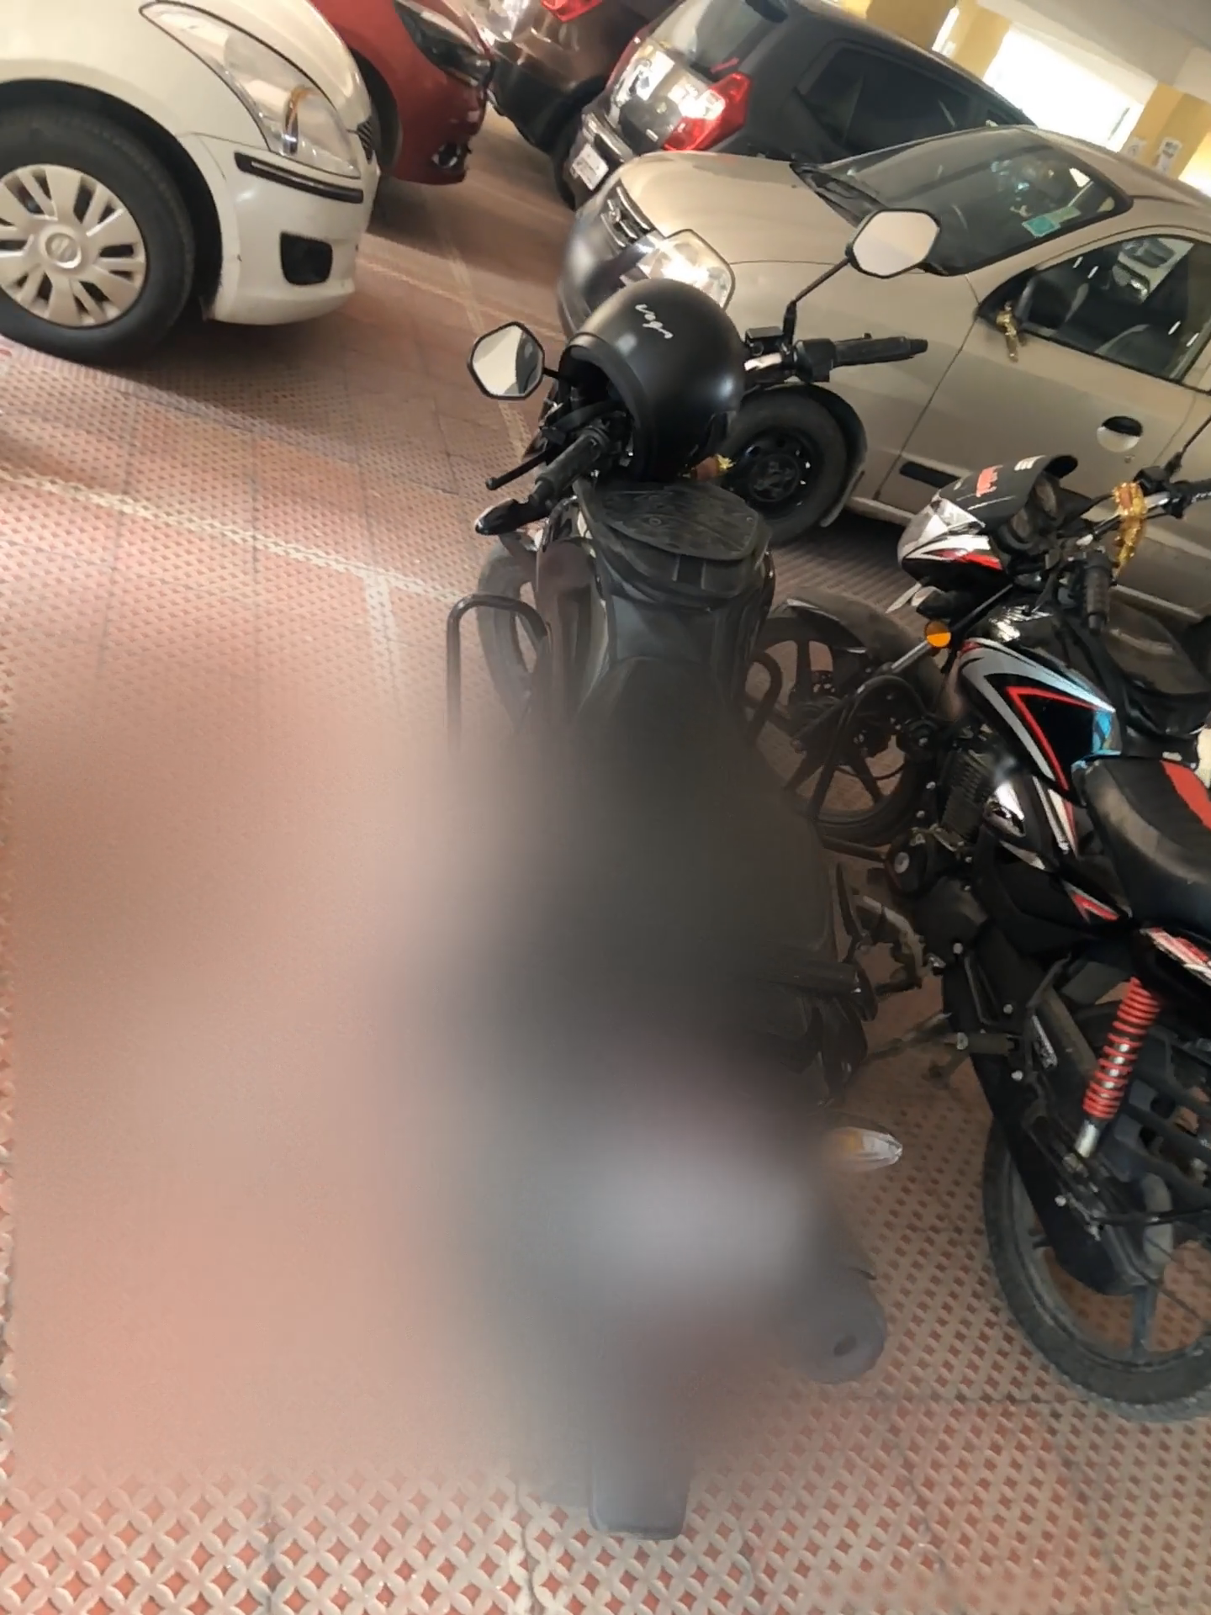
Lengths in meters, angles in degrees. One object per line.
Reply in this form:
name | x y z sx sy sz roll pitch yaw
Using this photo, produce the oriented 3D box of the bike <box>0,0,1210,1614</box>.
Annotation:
bike | -0.147 -0.149 1.801 0.804 1.200 1.690 15 35 -20
